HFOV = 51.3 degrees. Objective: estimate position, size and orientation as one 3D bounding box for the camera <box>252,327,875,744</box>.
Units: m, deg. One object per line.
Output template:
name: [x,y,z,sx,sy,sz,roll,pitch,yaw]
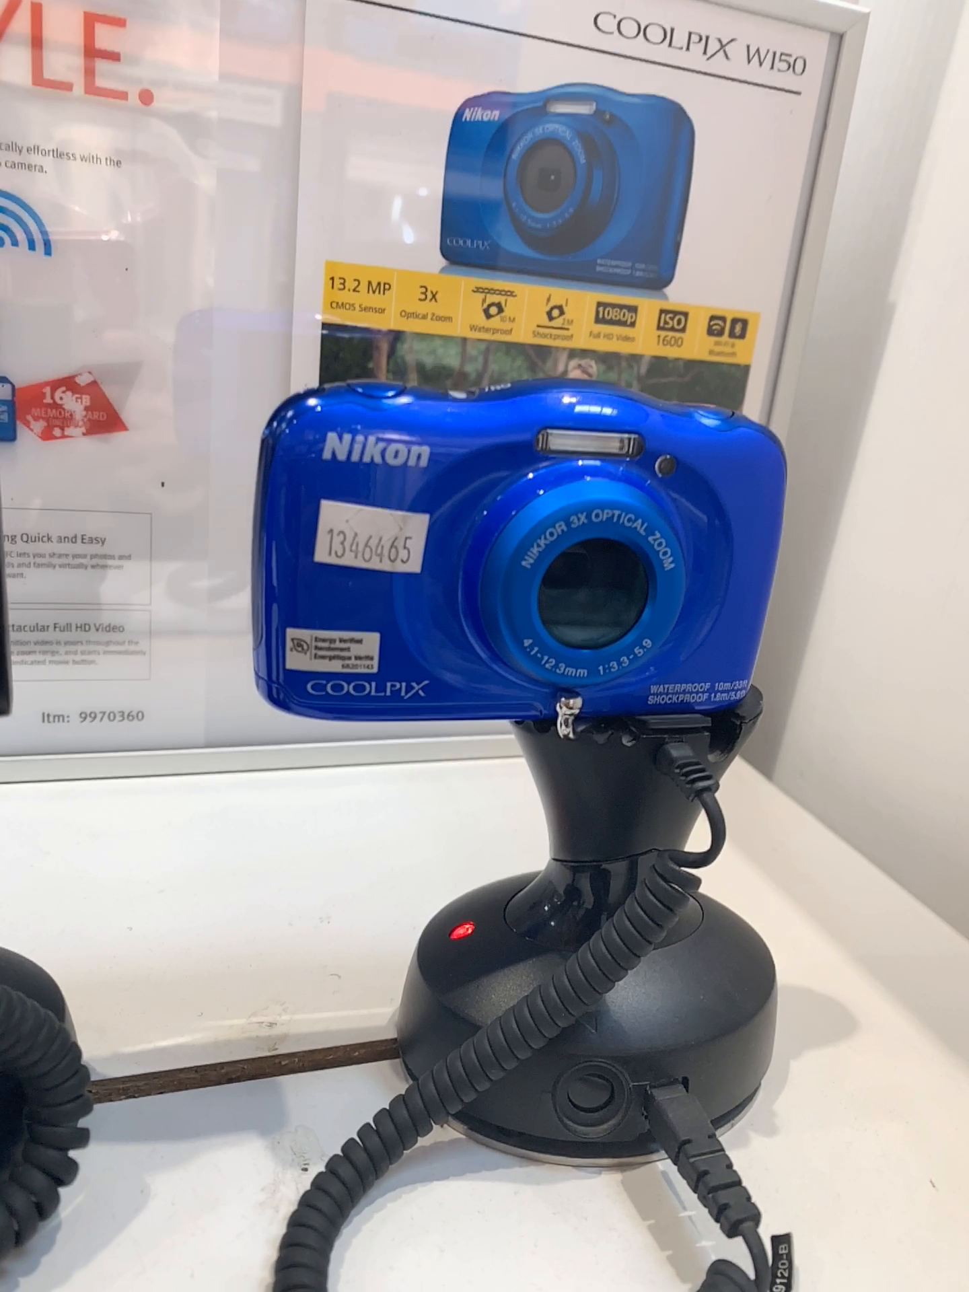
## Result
camera: [0.011,-0.021,0.191,0.101,0.063,0.046,1,19,-18]
